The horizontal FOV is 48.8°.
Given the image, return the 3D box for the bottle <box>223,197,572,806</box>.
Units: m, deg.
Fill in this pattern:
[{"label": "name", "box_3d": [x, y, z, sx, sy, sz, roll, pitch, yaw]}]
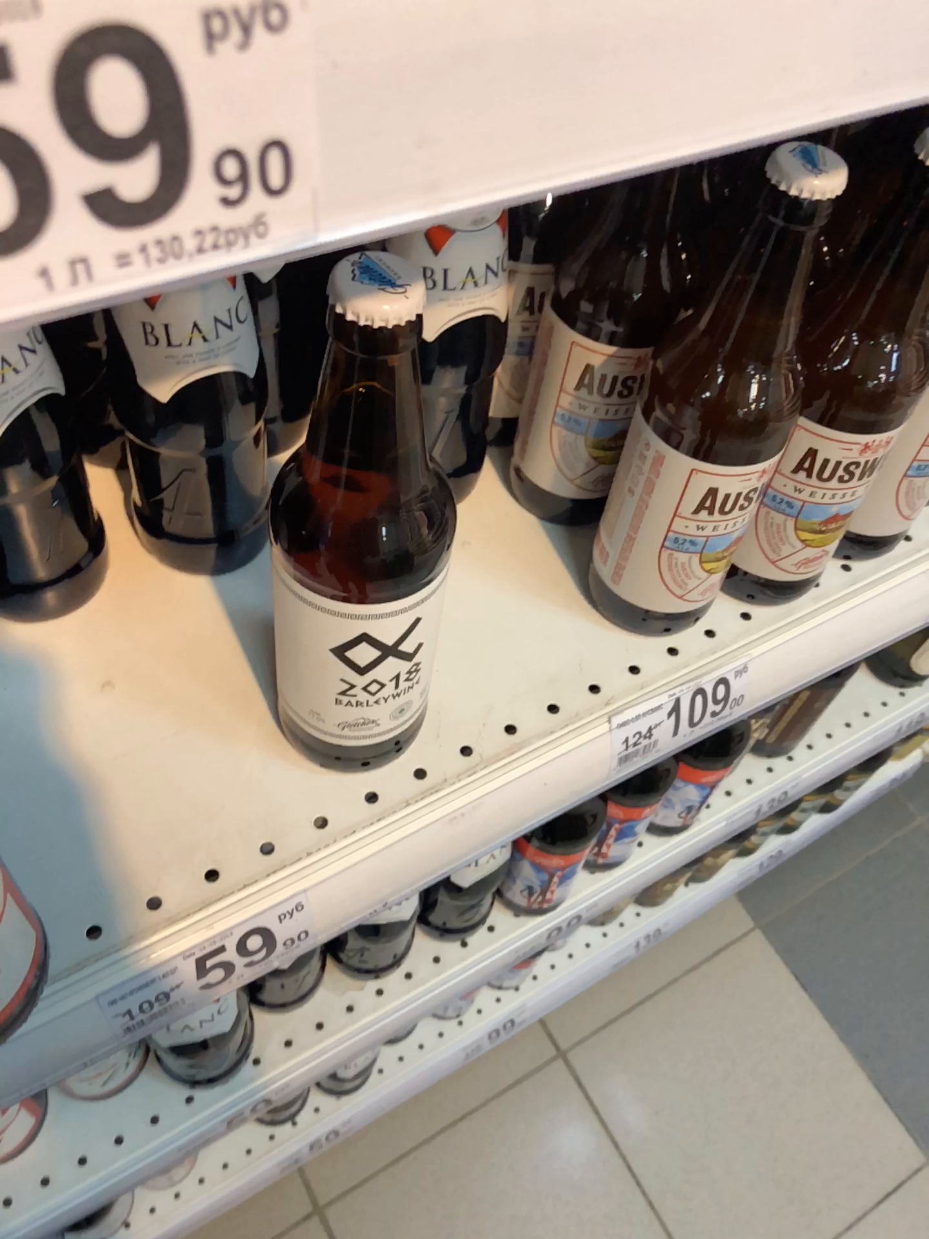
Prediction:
[{"label": "bottle", "box_3d": [-0.035, -0.024, 0.396, 0.080, 0.252, 0.070, -16, 59, -19]}]
